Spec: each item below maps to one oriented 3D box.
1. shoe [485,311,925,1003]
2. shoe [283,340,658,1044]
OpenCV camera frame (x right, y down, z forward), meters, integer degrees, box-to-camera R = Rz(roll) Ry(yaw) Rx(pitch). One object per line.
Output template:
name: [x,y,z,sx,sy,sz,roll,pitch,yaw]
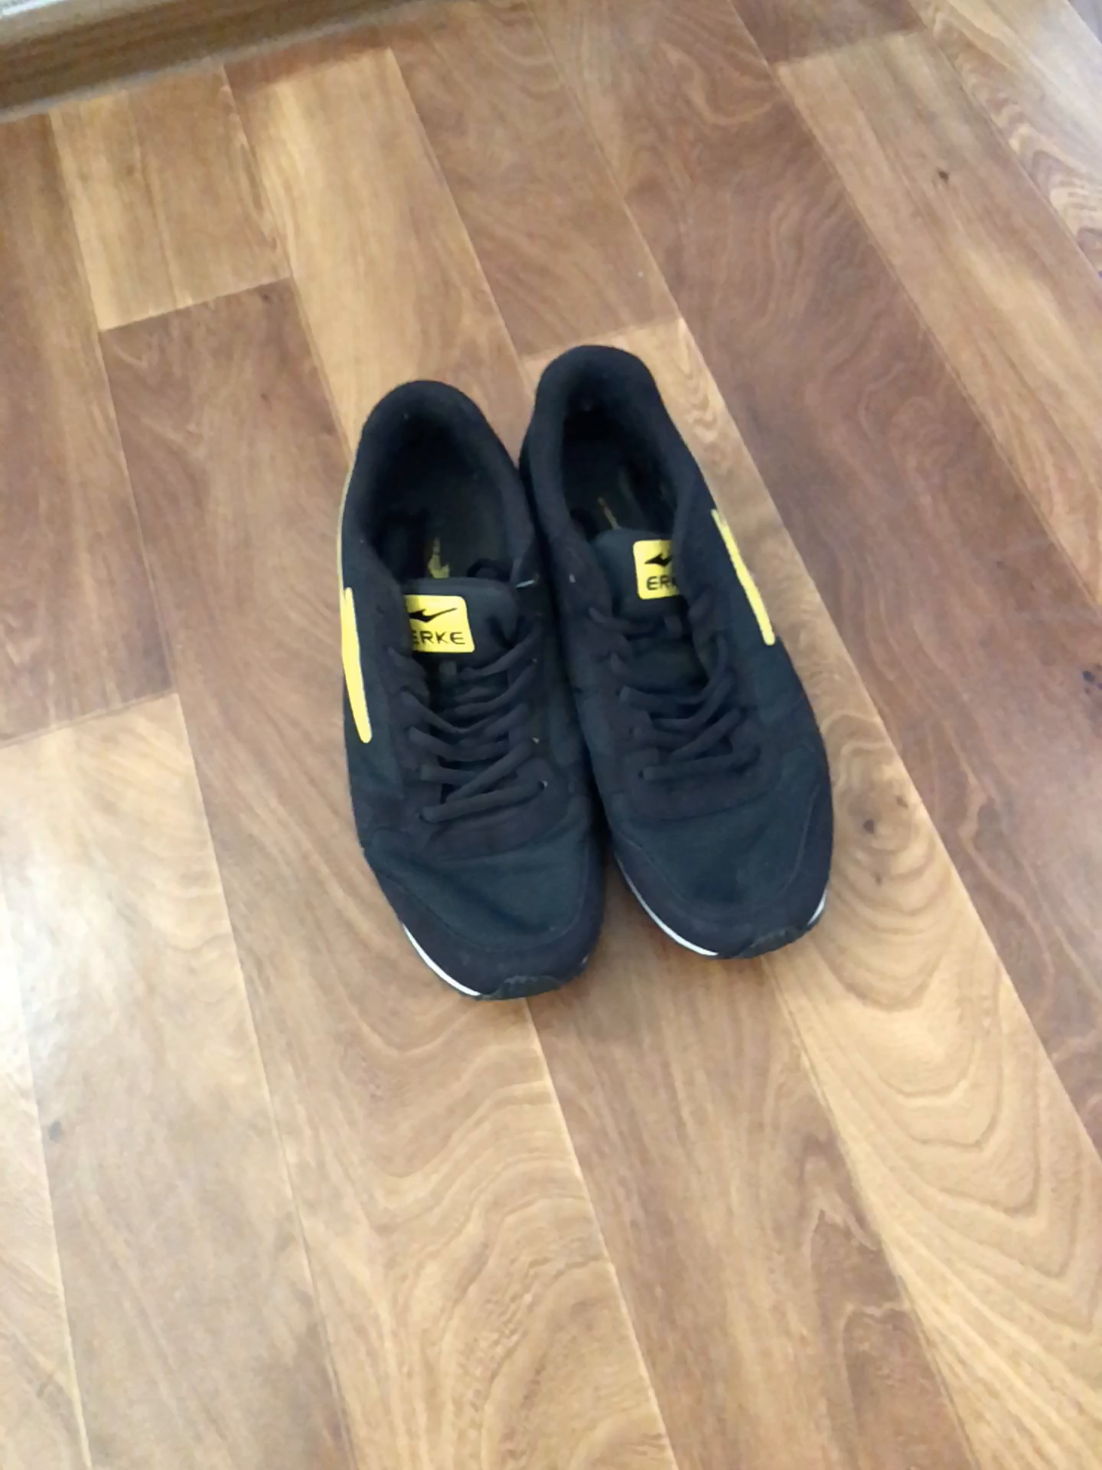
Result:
shoe: [0.058,-0.044,0.562,0.110,0.080,0.301,-13,66,-3]
shoe: [-0.042,-0.027,0.553,0.110,0.080,0.301,-11,66,-2]
